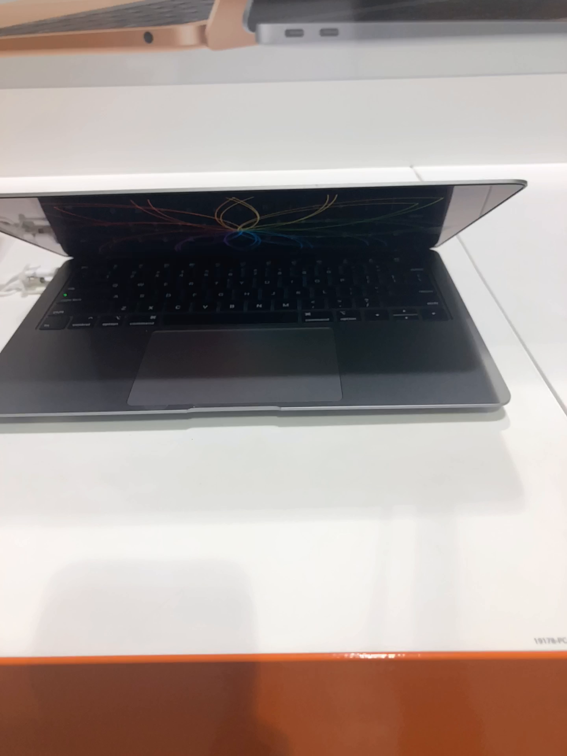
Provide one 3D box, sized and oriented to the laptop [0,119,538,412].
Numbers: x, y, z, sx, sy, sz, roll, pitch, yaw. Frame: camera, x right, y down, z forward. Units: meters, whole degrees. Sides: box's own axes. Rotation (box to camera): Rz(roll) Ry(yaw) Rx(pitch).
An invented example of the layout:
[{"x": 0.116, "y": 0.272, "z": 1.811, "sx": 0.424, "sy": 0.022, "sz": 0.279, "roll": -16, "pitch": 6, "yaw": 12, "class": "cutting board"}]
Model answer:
[{"x": -0.029, "y": -0.083, "z": 0.395, "sx": 0.288, "sy": 0.102, "sz": 0.200, "roll": -1, "pitch": 34, "yaw": 0, "class": "laptop"}]
